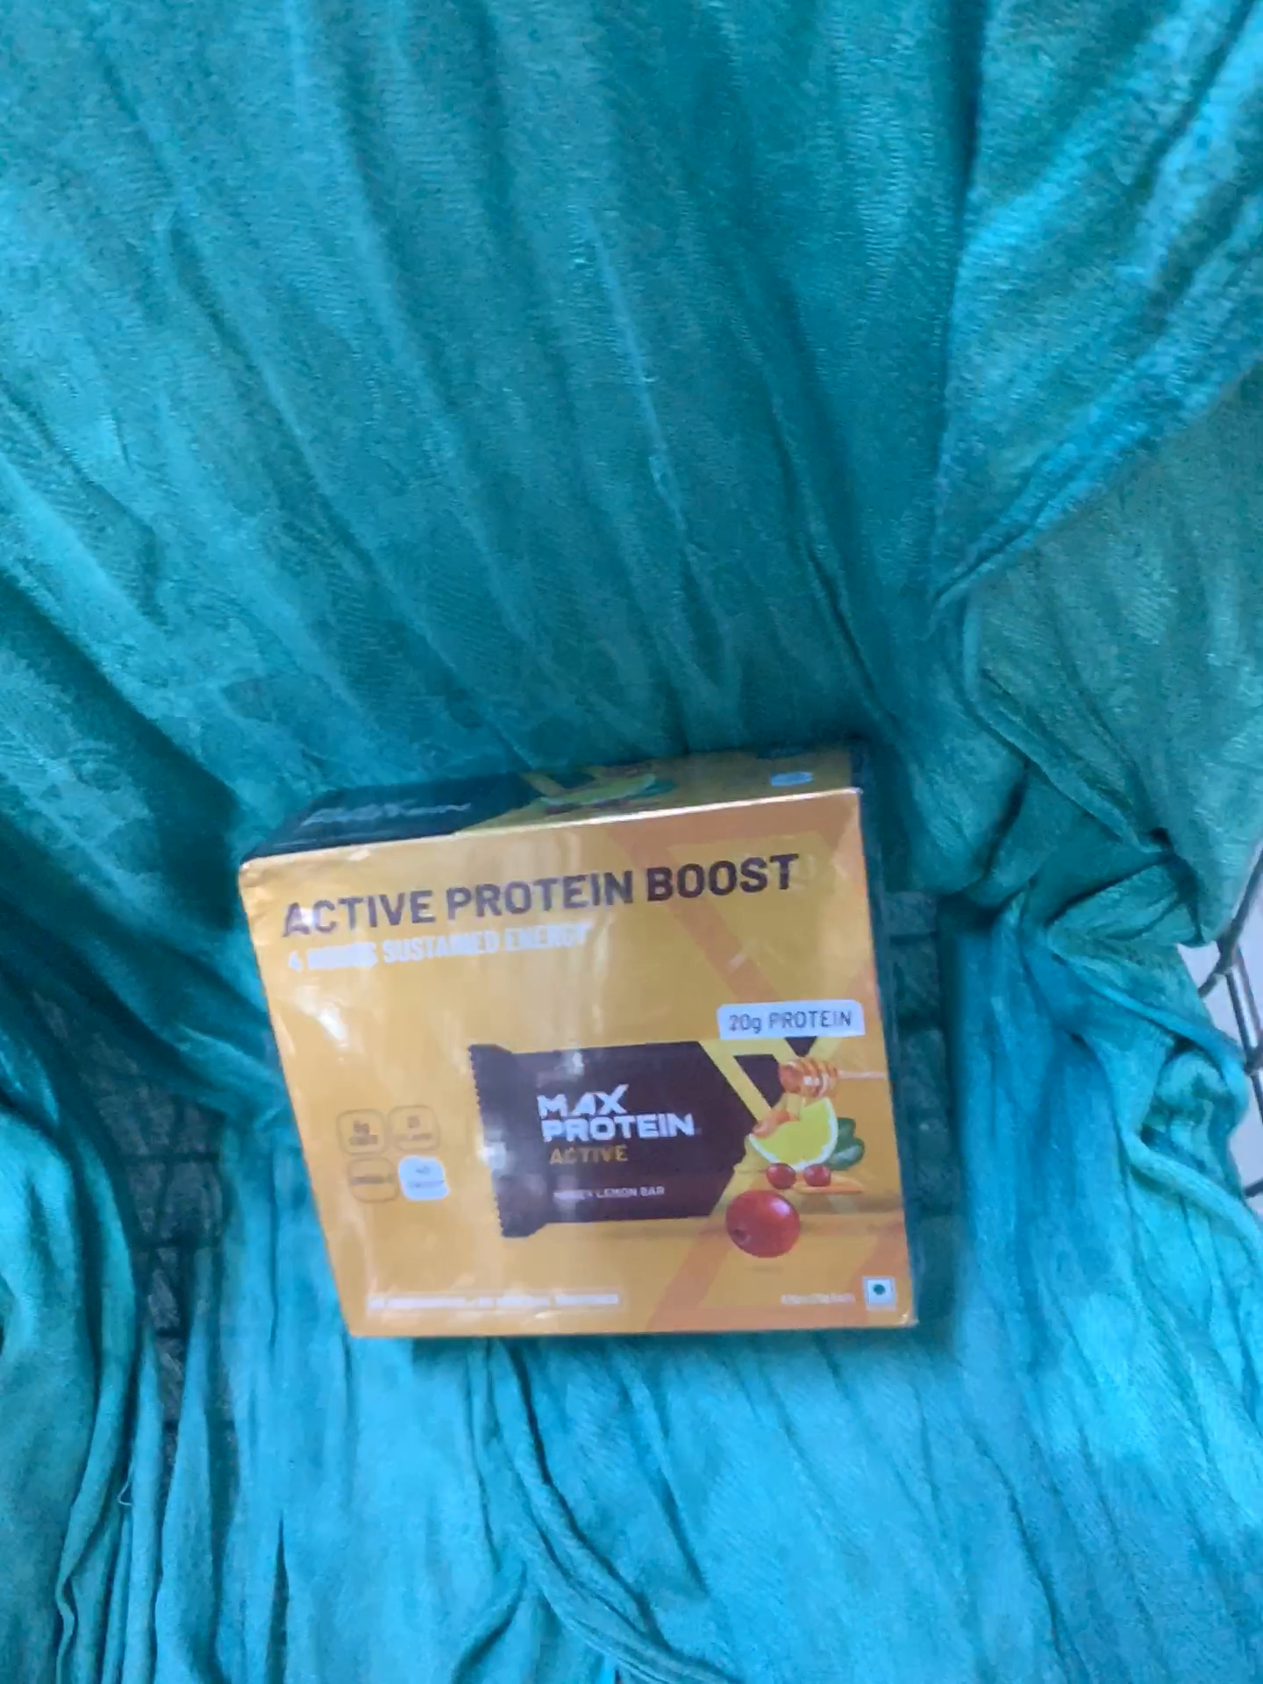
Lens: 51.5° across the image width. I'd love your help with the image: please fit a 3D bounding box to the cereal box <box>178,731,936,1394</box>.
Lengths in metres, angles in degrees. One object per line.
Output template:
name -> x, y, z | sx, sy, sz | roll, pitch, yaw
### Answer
cereal box -> -0.011, 0.056, 0.343 | 0.160, 0.080, 0.140 | -6, 102, 13
